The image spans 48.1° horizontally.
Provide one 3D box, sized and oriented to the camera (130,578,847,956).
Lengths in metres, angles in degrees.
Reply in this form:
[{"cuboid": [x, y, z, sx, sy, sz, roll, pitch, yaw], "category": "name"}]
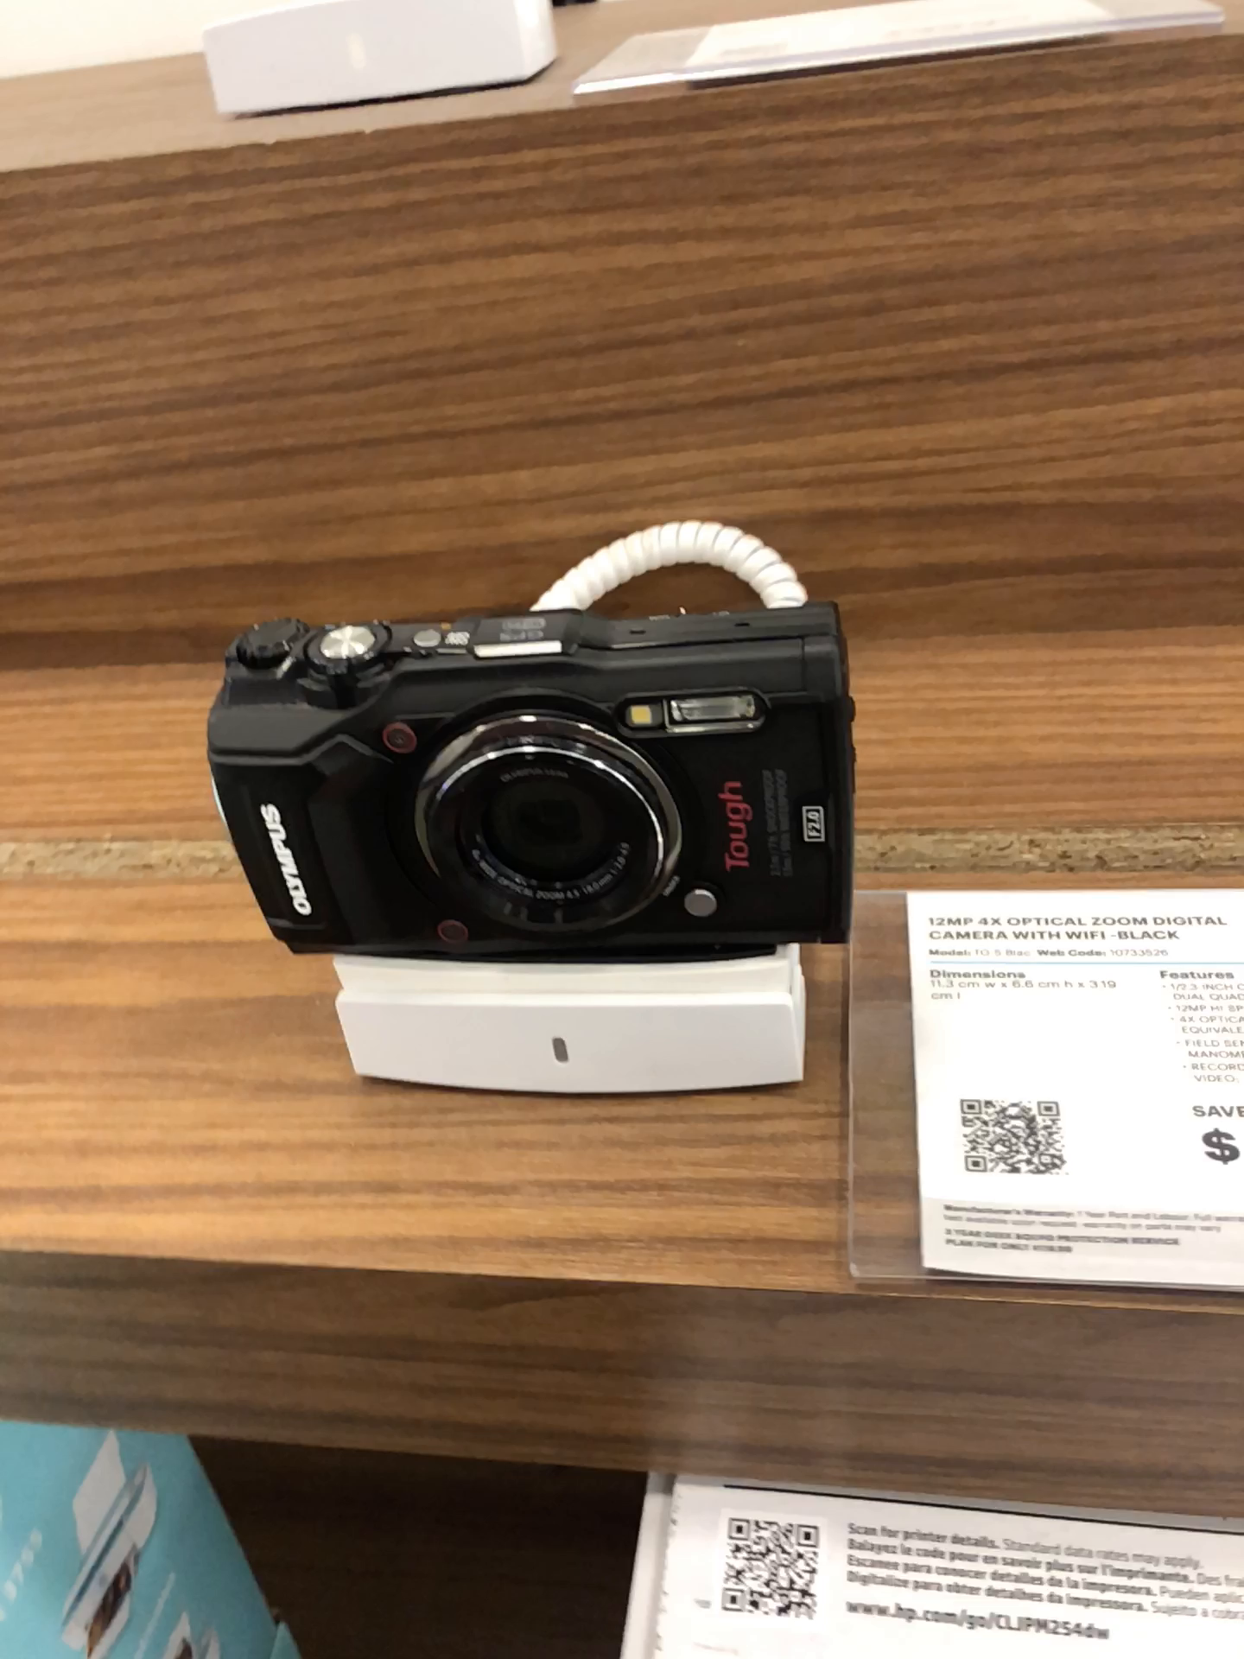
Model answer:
[{"cuboid": [-0.020, -0.009, 0.258, 0.120, 0.060, 0.030, -1, 34, 11], "category": "camera"}]
